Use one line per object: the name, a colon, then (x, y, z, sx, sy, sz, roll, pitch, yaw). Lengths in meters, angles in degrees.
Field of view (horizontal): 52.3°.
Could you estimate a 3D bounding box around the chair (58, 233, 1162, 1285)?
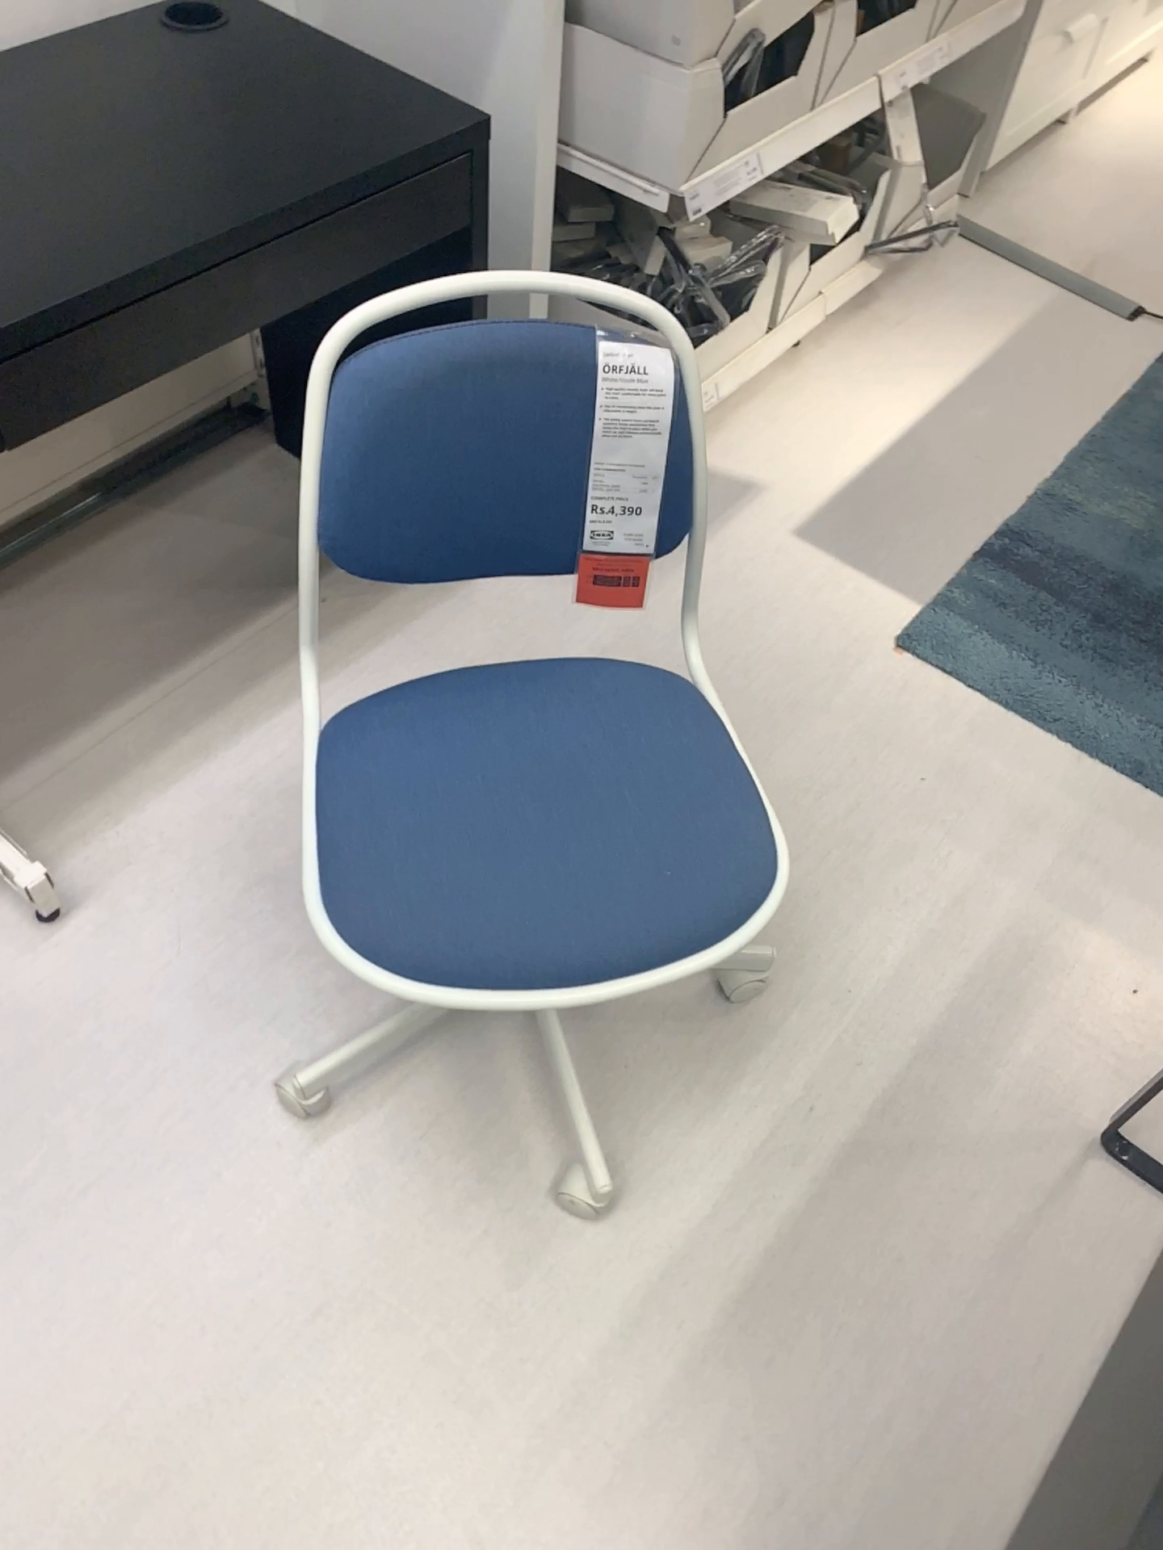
chair: (-0.041, 0.021, 1.160, 0.640, 0.798, 0.602, -6, 53, -10)
